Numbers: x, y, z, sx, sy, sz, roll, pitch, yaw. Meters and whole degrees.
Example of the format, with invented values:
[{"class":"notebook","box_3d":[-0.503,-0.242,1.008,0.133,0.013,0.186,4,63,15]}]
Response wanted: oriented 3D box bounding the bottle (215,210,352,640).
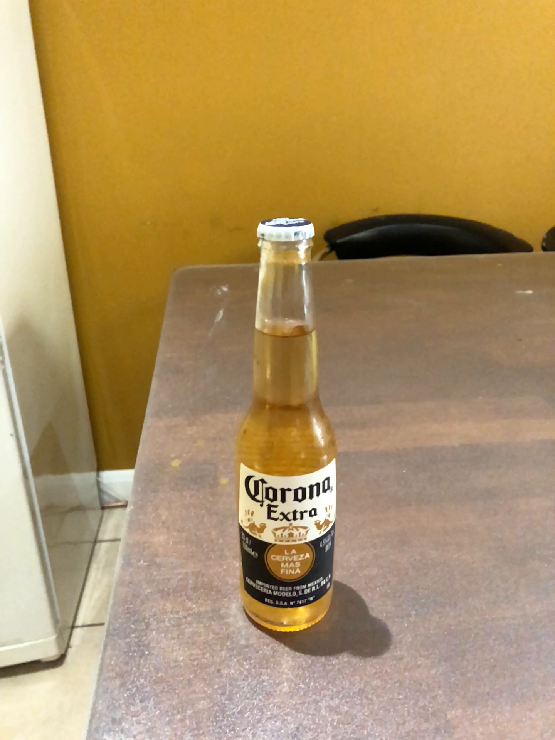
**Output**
[{"class":"bottle","box_3d":[0.002,0.038,0.344,0.060,0.238,0.060,0,24,0]}]
